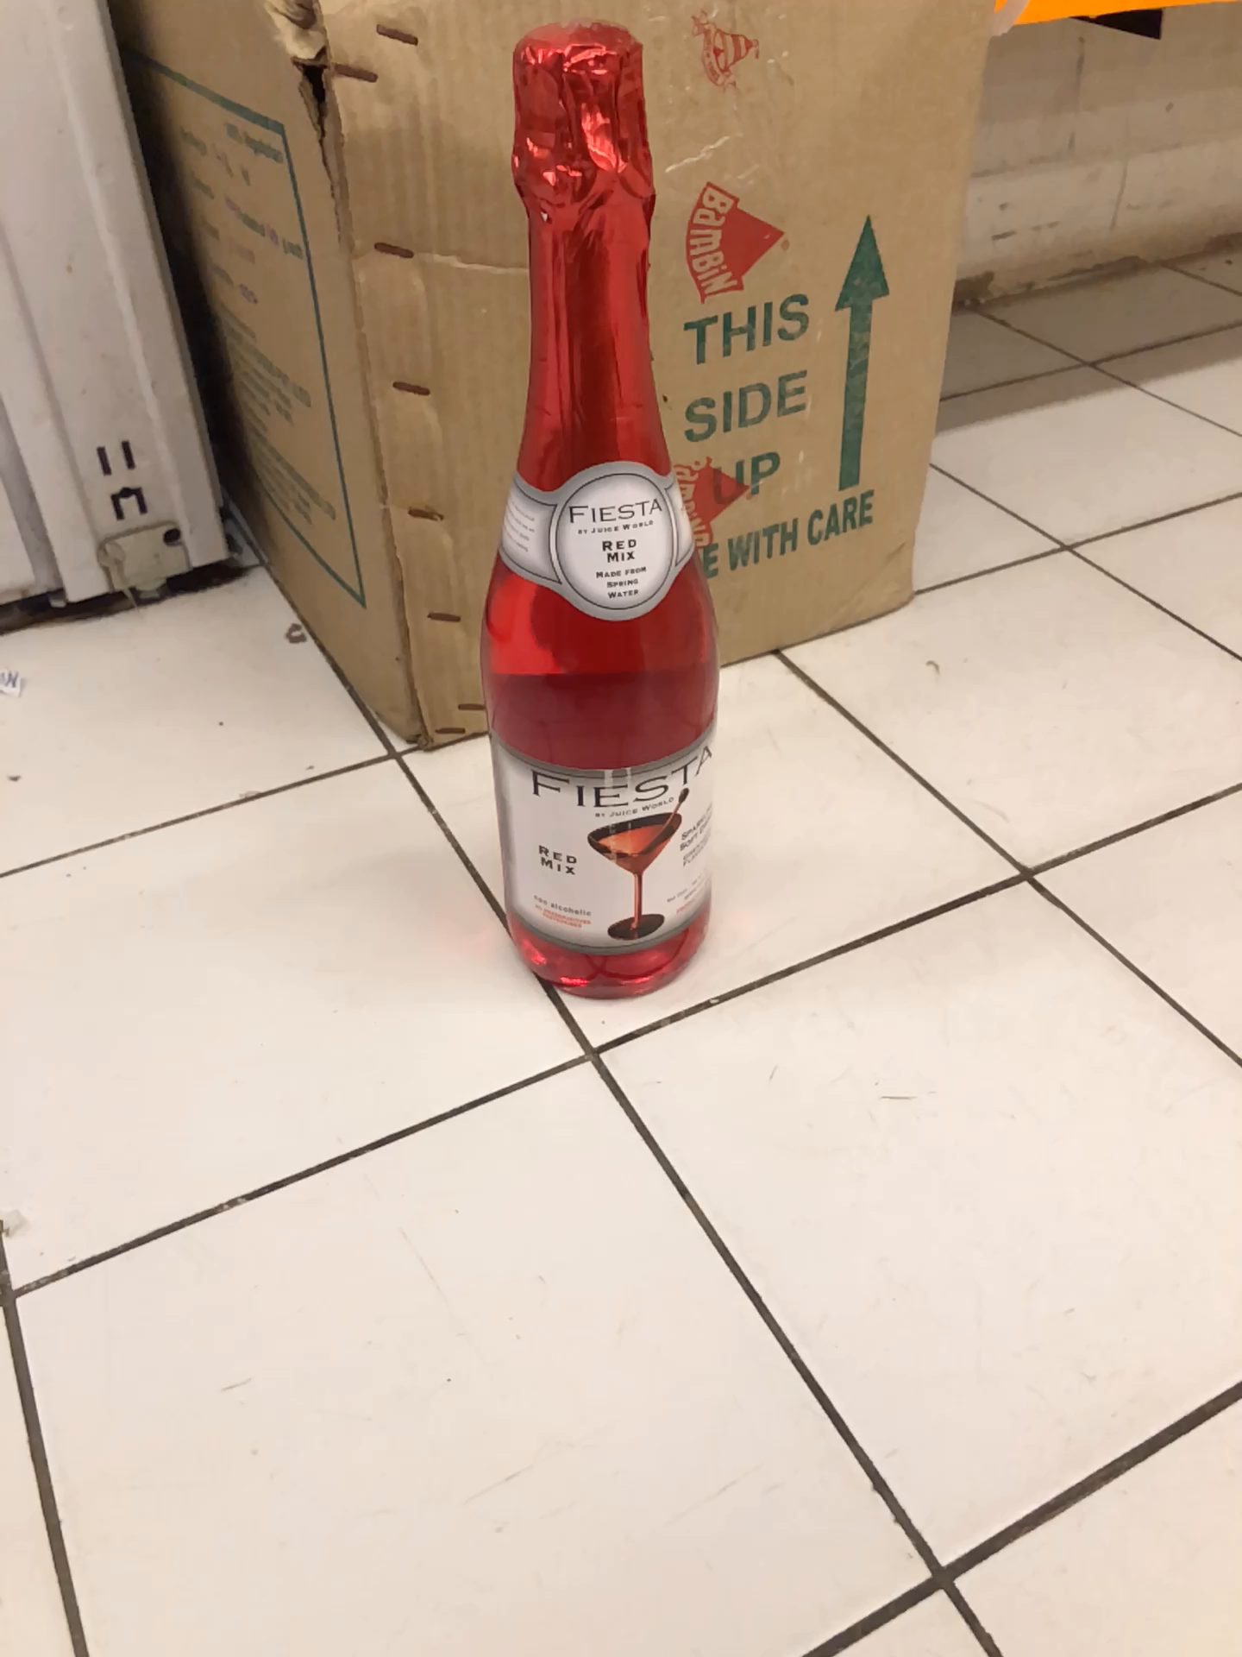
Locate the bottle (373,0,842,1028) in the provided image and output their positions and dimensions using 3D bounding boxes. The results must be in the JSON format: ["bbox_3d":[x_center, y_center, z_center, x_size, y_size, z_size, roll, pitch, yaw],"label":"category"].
[{"bbox_3d":[-0.004,-0.080,0.426,0.090,0.298,0.080,-15,42,-16],"label":"bottle"}]
